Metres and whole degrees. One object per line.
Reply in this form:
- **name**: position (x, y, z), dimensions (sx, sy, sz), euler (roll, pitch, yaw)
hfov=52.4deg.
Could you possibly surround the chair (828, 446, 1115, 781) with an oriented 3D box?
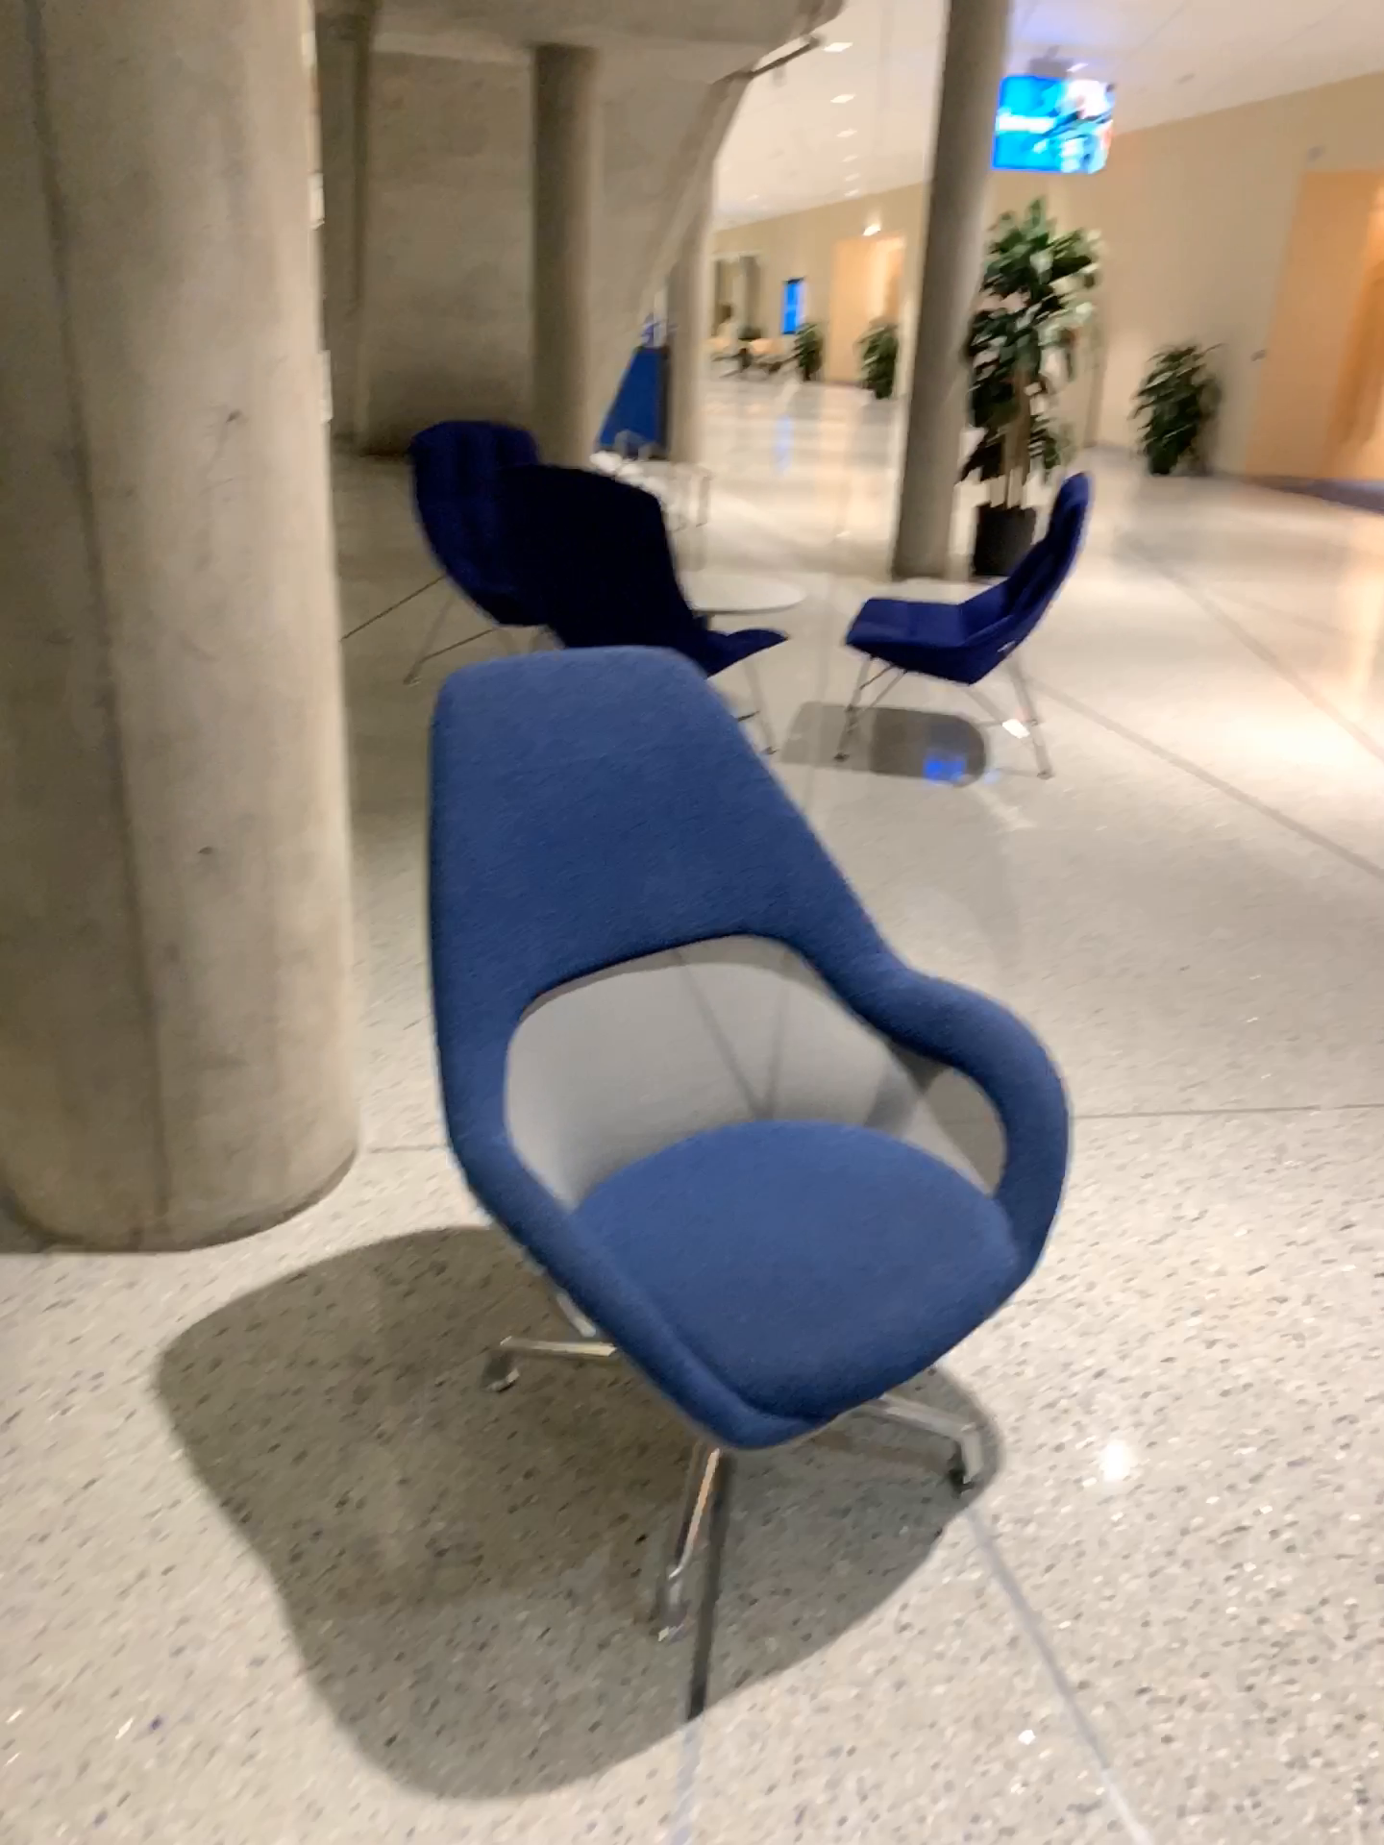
- **chair**: position (0.936, -1.097, 4.841), dimensions (0.781, 0.918, 0.890), euler (7, 23, 8)

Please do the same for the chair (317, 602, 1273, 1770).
- **chair**: position (0.093, 0.204, 1.700), dimensions (0.816, 0.997, 0.634), euler (-15, 29, -37)
